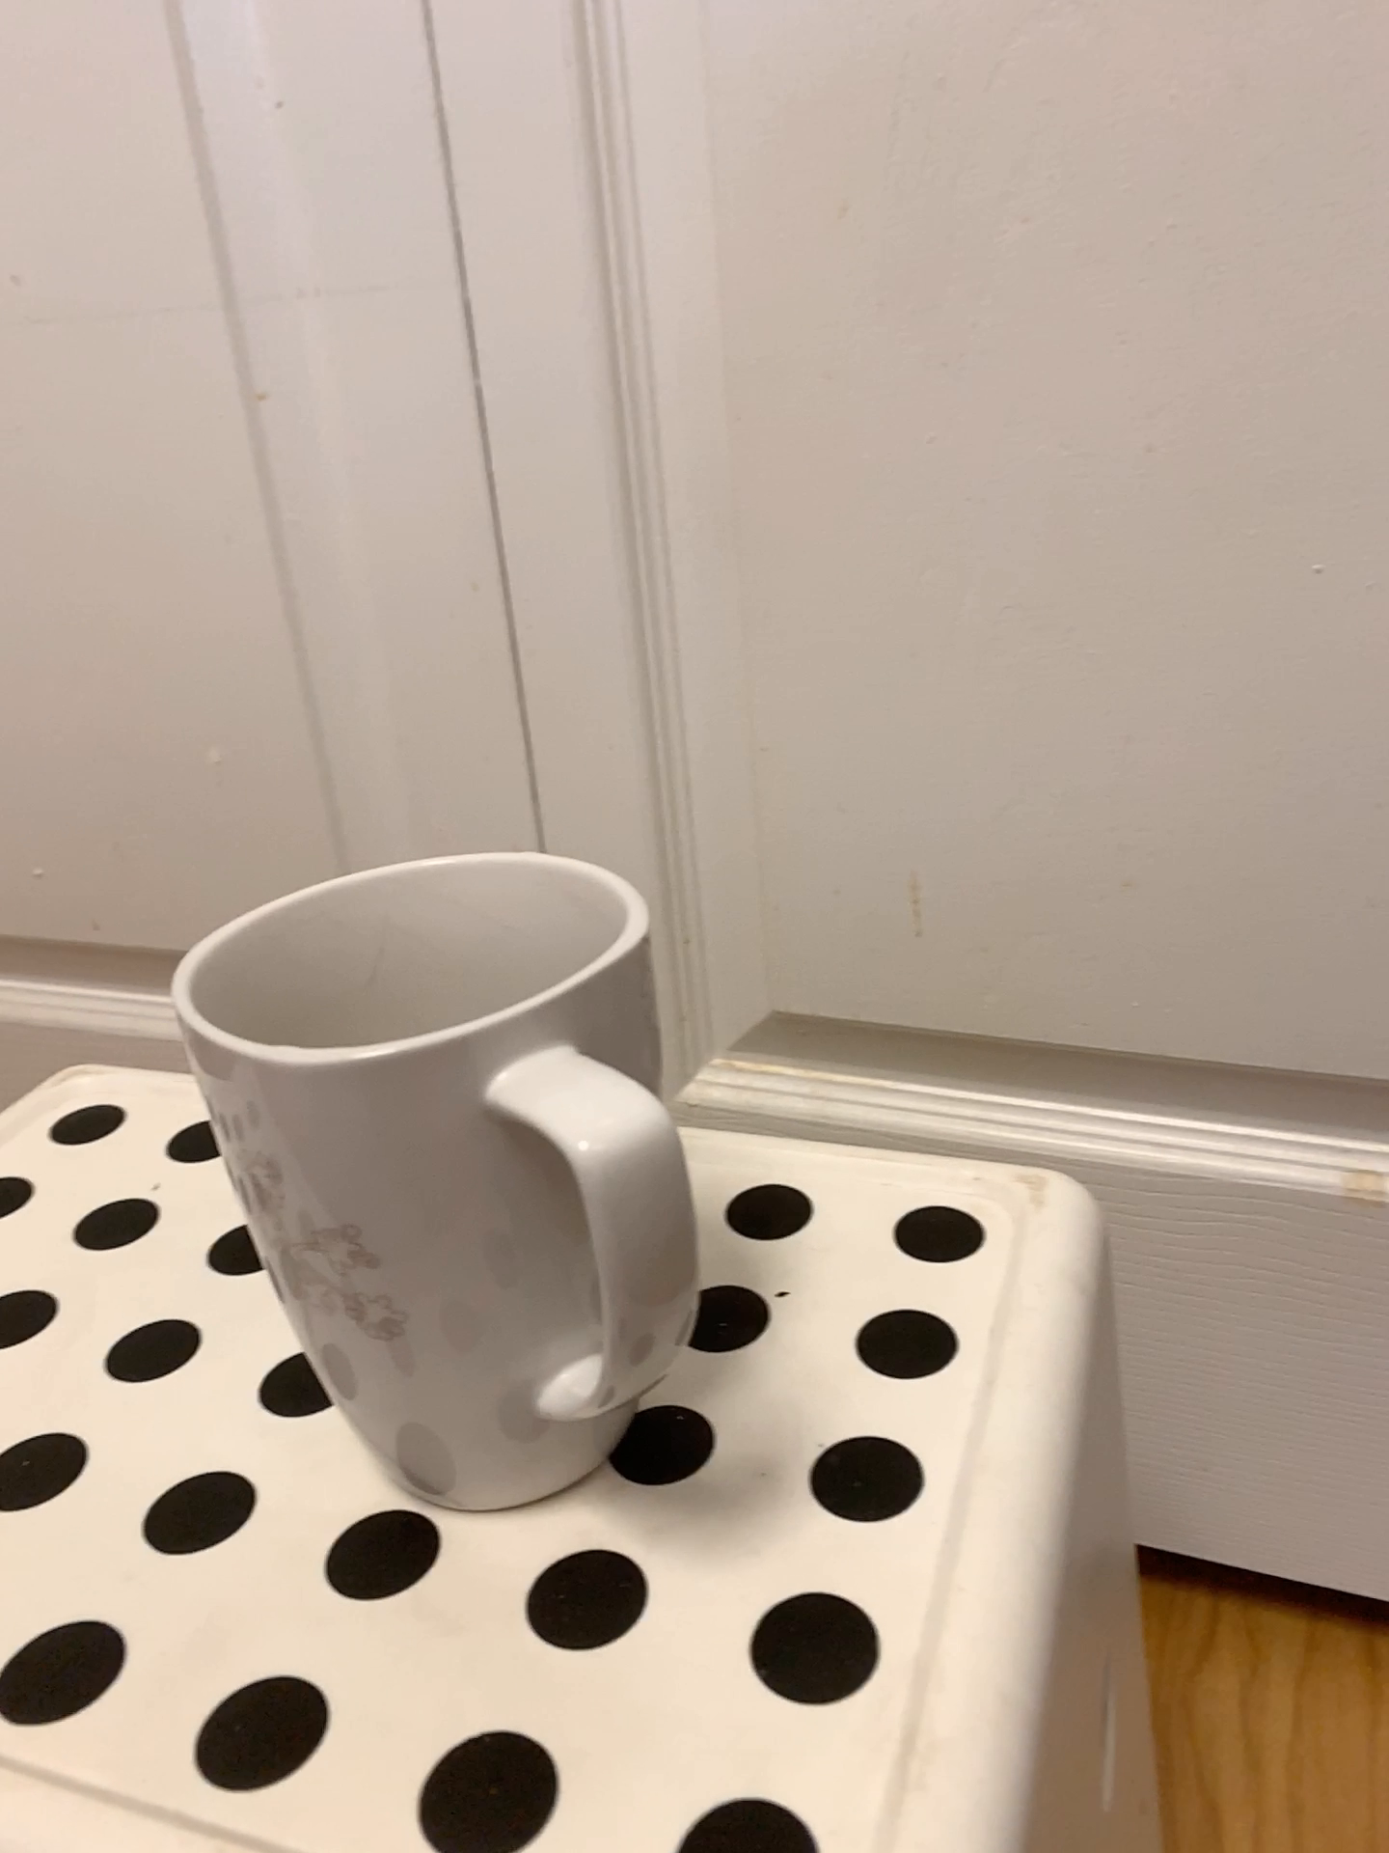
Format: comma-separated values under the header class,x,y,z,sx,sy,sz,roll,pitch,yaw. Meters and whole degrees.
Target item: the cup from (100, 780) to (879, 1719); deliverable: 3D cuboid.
class,x,y,z,sx,sy,sz,roll,pitch,yaw
cup,-0.037,0.046,0.262,0.070,0.109,0.120,-25,31,-36
